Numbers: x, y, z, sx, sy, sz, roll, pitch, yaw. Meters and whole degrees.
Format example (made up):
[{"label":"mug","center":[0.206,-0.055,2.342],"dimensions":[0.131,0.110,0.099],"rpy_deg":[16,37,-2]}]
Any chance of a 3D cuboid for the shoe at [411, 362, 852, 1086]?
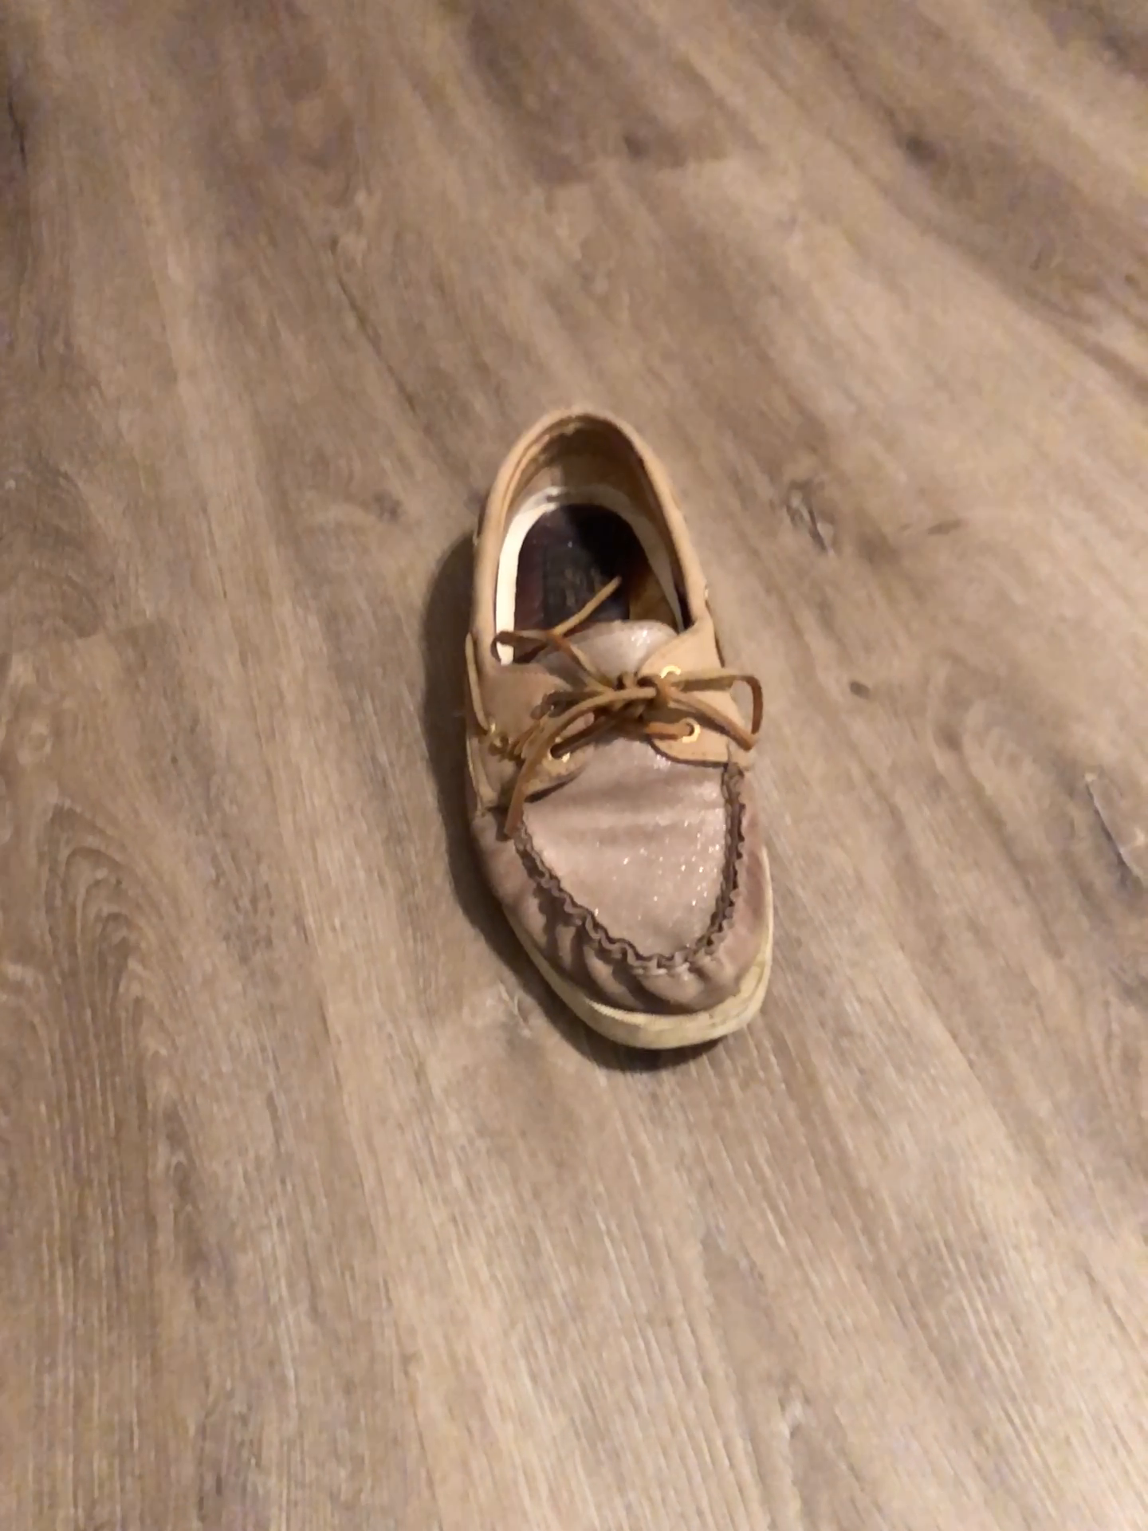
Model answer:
[{"label":"shoe","center":[0.005,-0.030,0.424],"dimensions":[0.100,0.070,0.251],"rpy_deg":[-5,51,-5]}]
